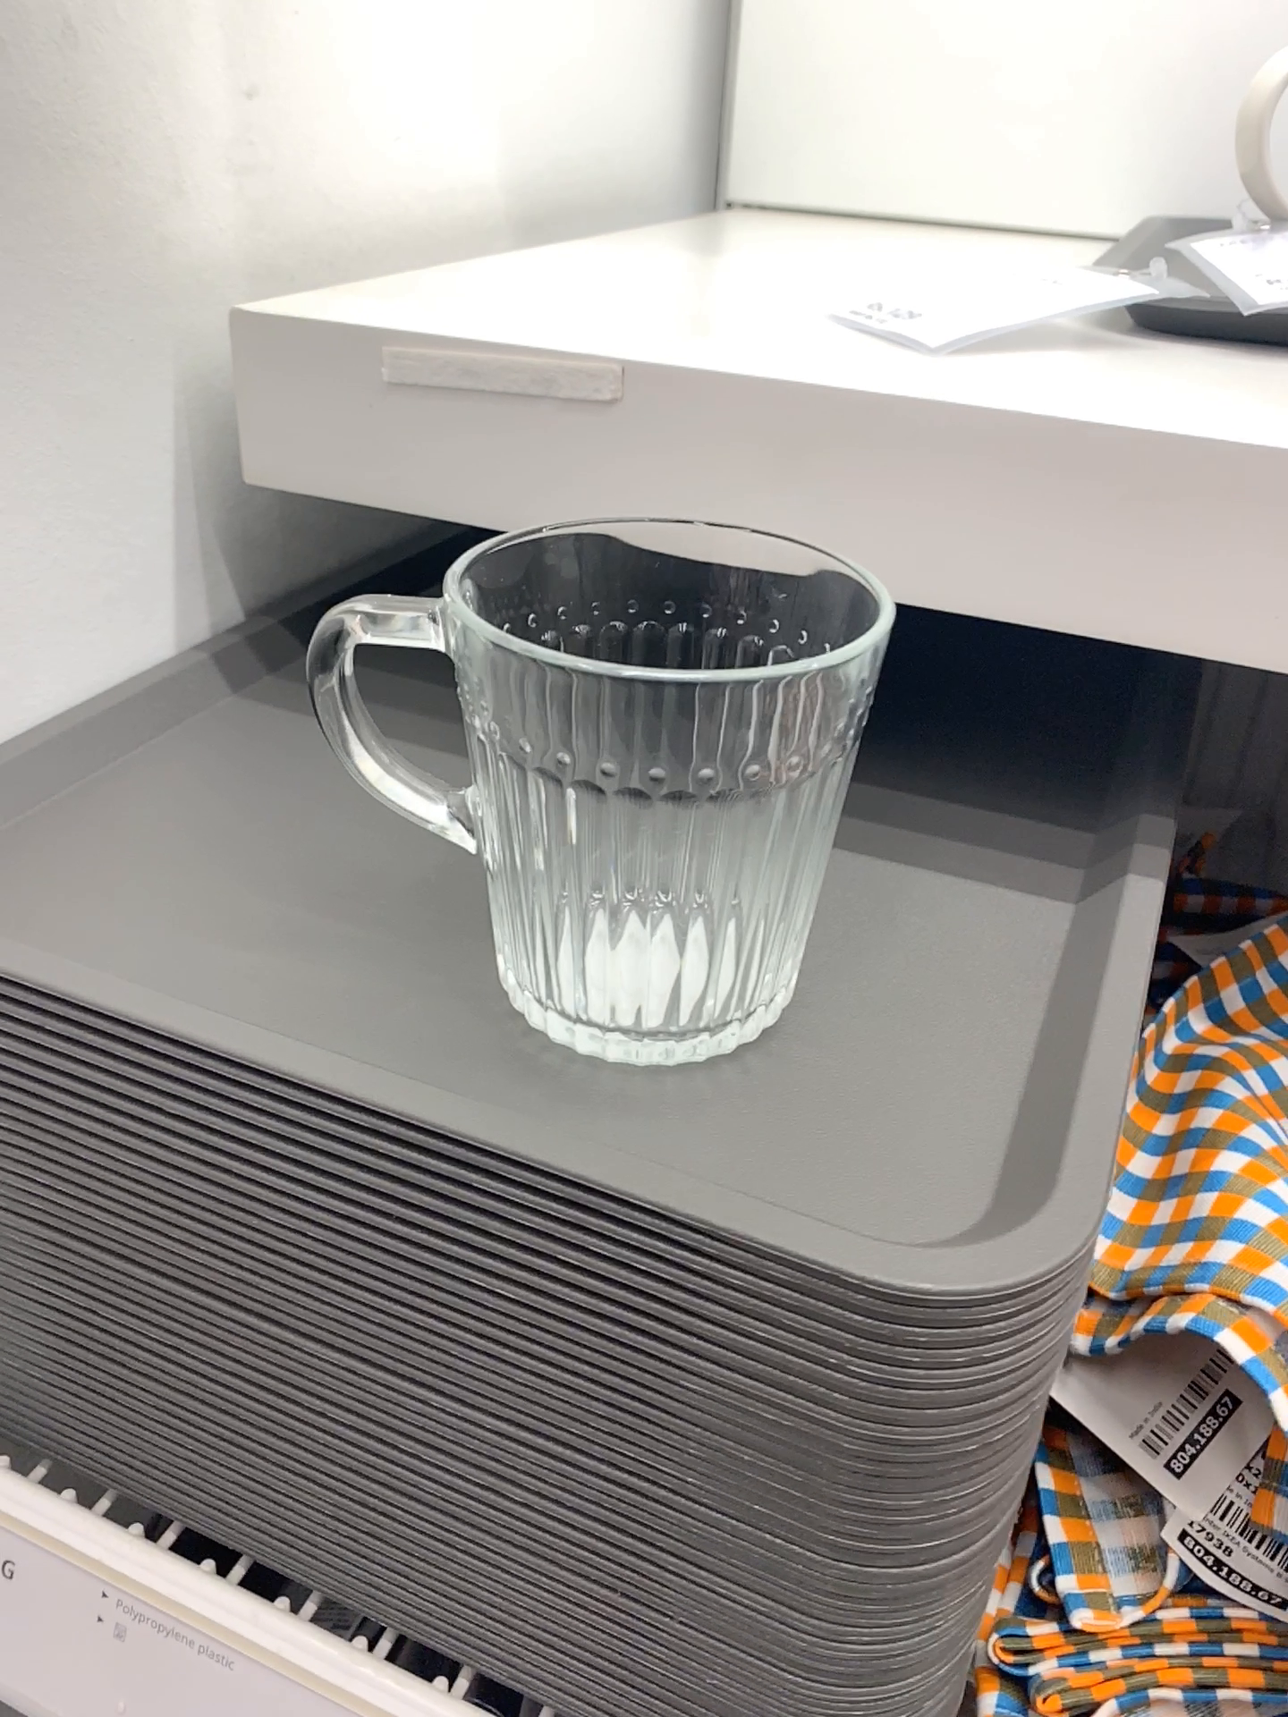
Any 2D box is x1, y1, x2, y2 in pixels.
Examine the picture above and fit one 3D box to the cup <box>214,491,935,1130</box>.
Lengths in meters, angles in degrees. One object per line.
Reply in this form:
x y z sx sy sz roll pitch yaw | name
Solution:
-0.008 -0.015 0.257 0.110 0.080 0.080 10 30 11 | cup
